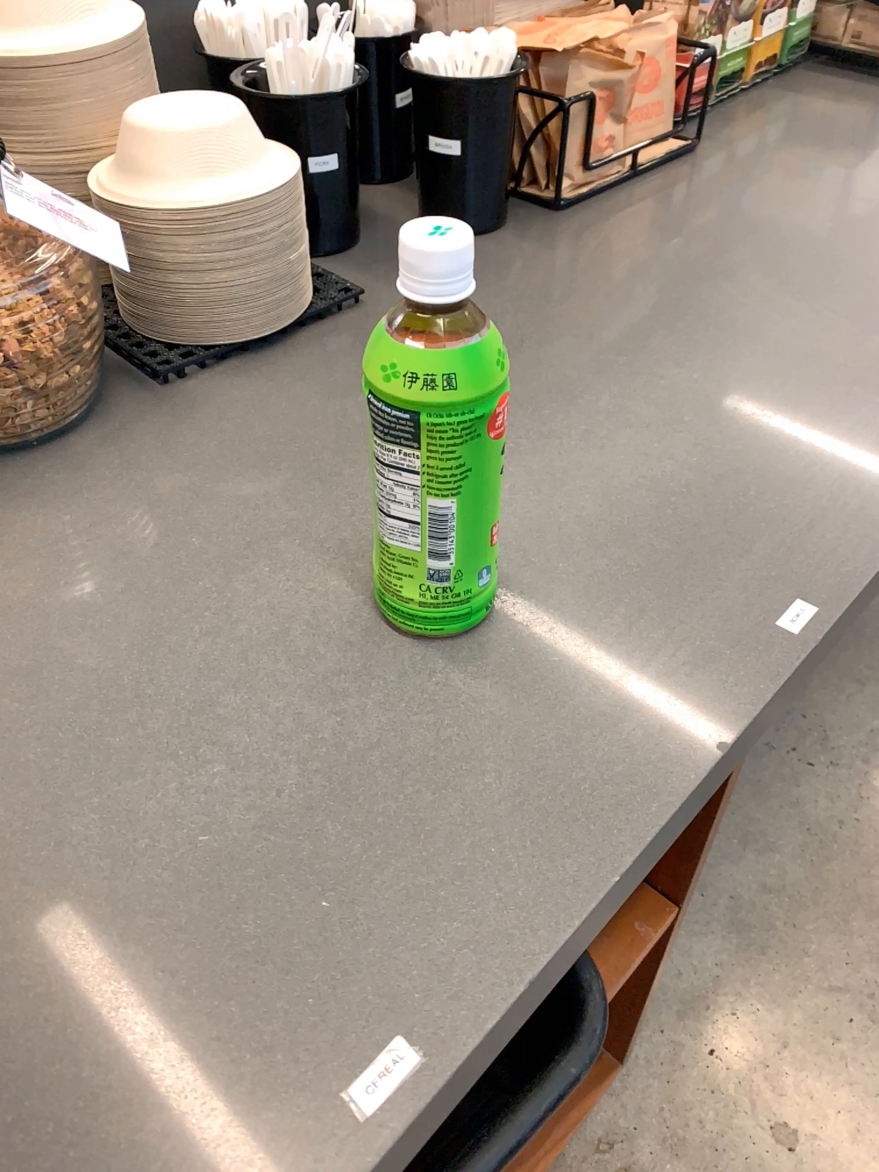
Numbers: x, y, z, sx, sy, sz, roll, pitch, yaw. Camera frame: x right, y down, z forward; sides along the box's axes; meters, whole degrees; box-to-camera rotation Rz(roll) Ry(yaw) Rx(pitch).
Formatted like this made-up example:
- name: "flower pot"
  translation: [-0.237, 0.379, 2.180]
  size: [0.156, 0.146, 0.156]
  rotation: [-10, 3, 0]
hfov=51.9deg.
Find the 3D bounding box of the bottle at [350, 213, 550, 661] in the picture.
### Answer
- name: "bottle"
  translation: [0.001, -0.060, 0.426]
  size: [0.070, 0.199, 0.070]
  rotation: [0, 44, 0]
